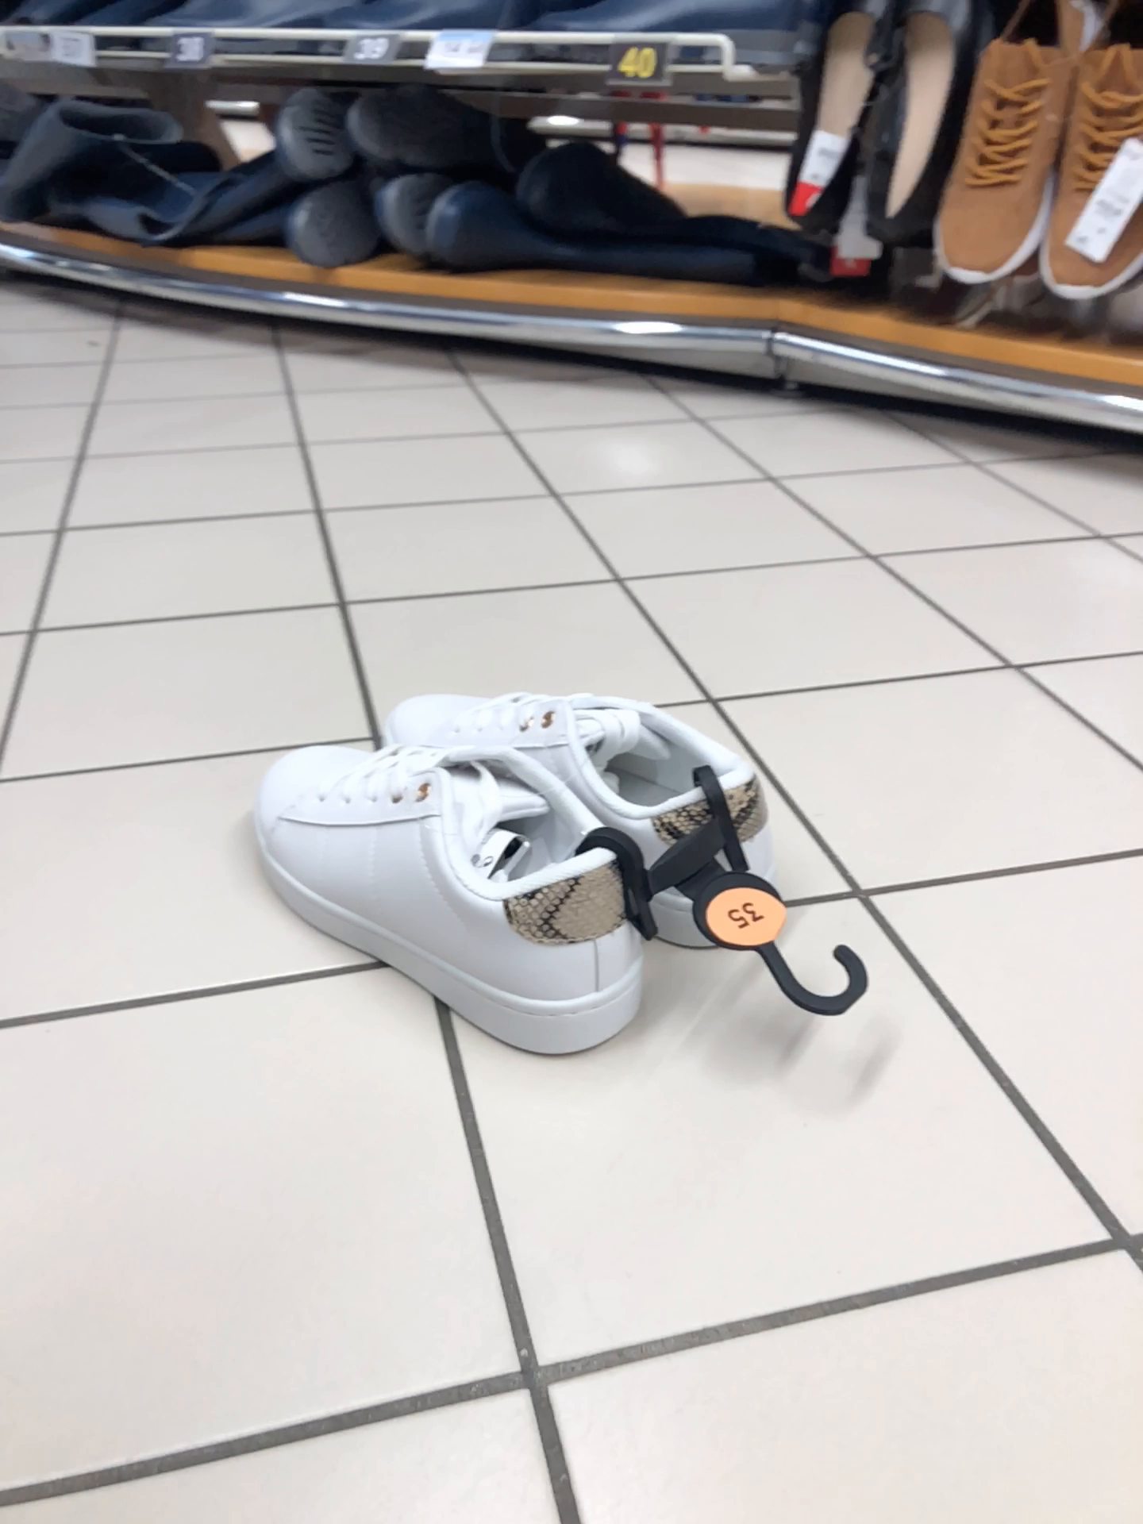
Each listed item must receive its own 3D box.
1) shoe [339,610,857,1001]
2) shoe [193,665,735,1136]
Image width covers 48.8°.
[{"bbox_3d":[0.004,0.009,0.607,0.240,0.080,0.091,24,37,35],"label":"shoe"},{"bbox_3d":[-0.055,0.045,0.547,0.240,0.080,0.090,27,38,37],"label":"shoe"}]
